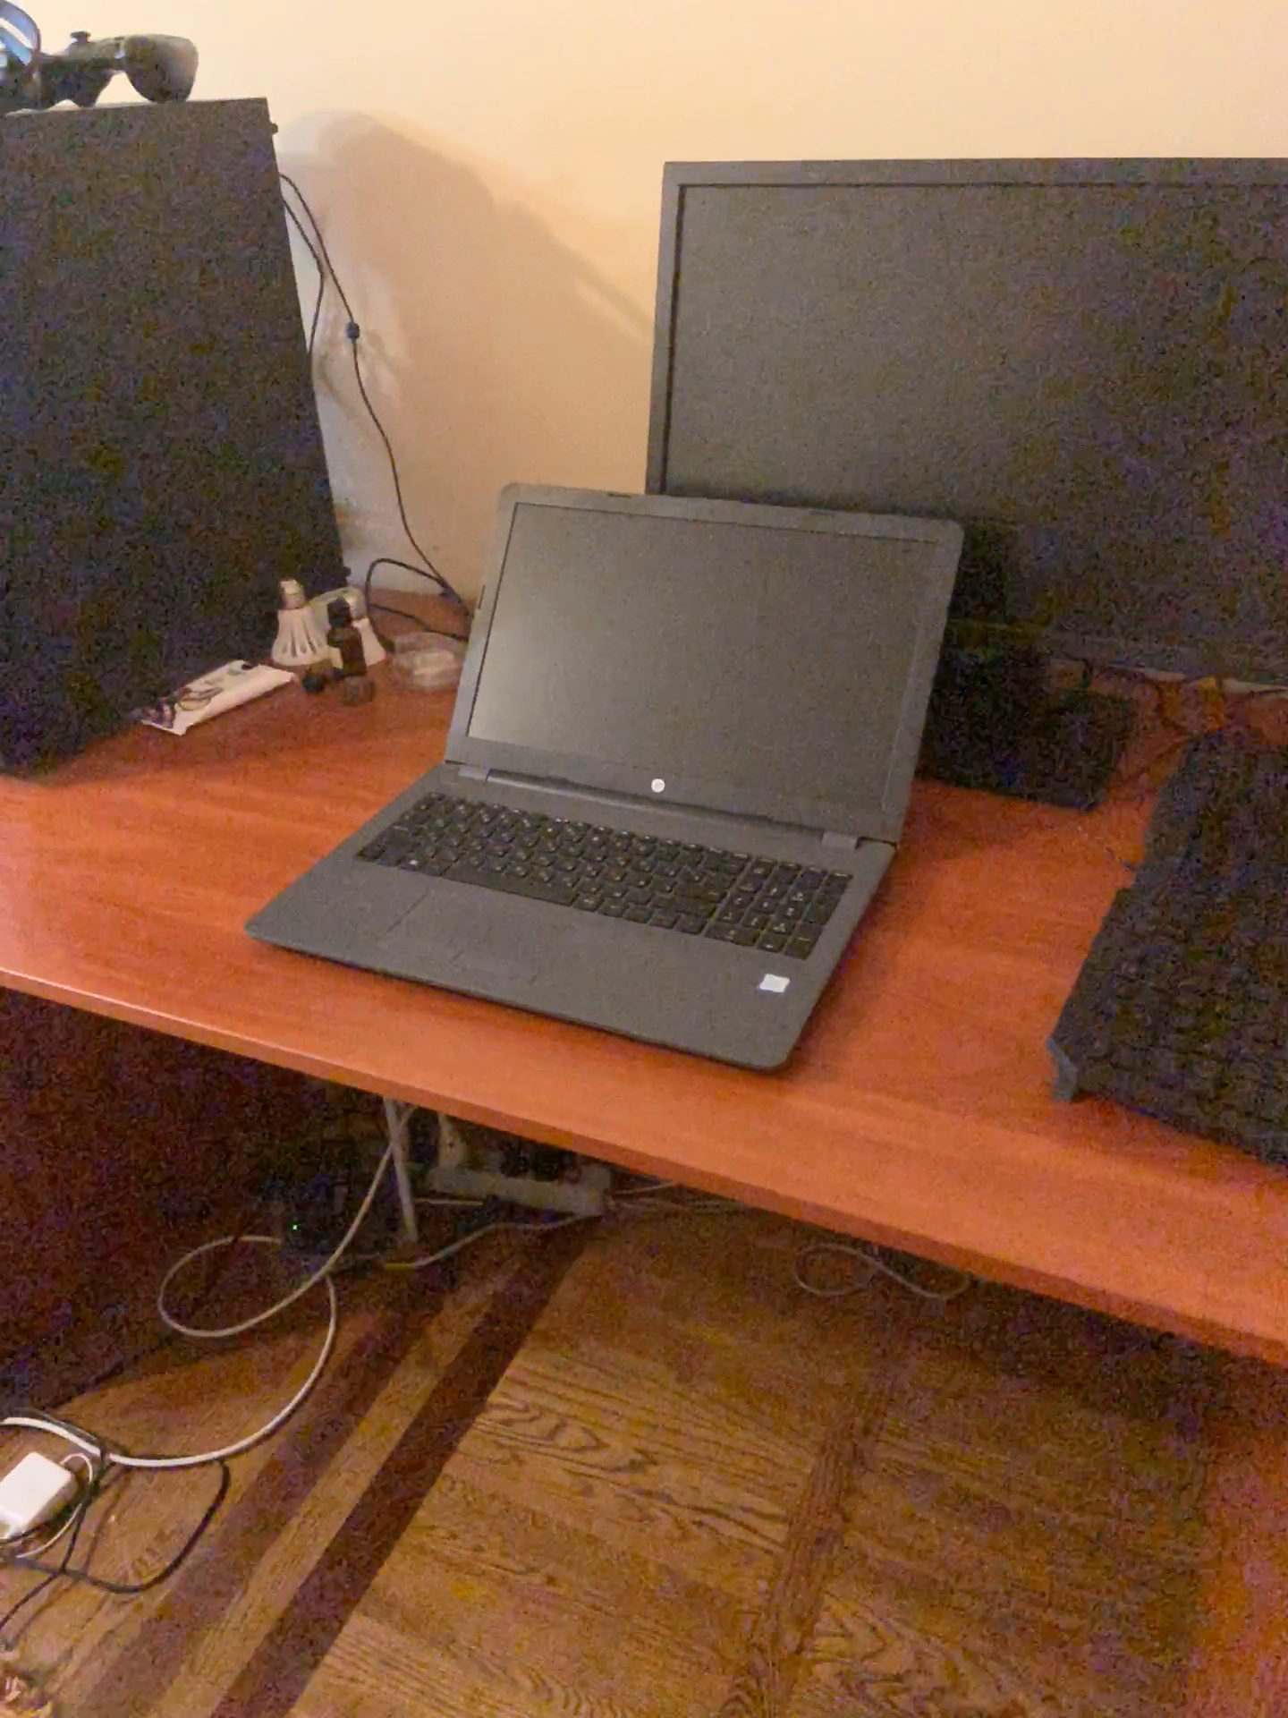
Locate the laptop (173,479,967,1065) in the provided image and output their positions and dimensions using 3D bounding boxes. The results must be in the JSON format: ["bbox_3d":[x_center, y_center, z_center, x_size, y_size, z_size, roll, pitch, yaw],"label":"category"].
[{"bbox_3d":[-0.018,-0.097,0.885,0.372,0.188,0.393,11,33,21],"label":"laptop"}]
